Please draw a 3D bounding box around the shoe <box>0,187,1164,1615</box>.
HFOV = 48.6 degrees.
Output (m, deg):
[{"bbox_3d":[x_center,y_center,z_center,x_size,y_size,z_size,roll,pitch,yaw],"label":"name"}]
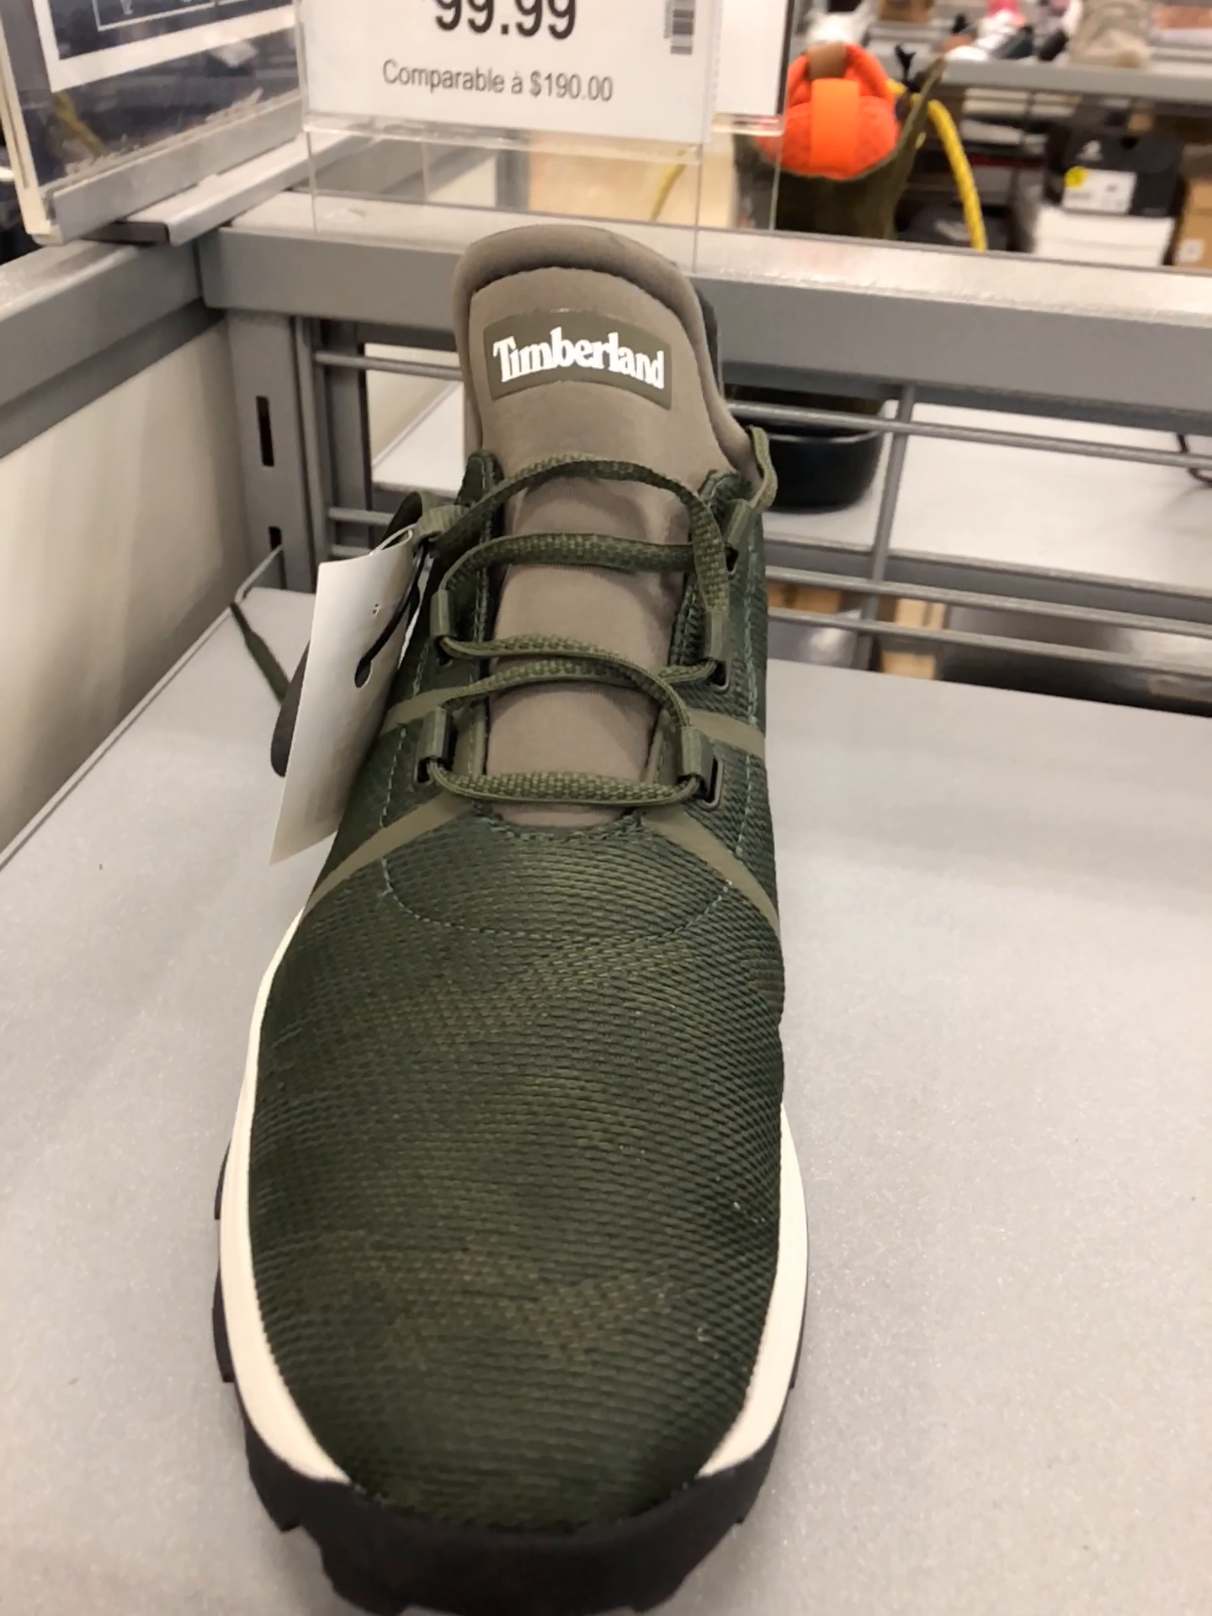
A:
[{"bbox_3d":[-0.012,-0.016,0.286,0.130,0.149,0.313,4,35,1],"label":"shoe"}]
